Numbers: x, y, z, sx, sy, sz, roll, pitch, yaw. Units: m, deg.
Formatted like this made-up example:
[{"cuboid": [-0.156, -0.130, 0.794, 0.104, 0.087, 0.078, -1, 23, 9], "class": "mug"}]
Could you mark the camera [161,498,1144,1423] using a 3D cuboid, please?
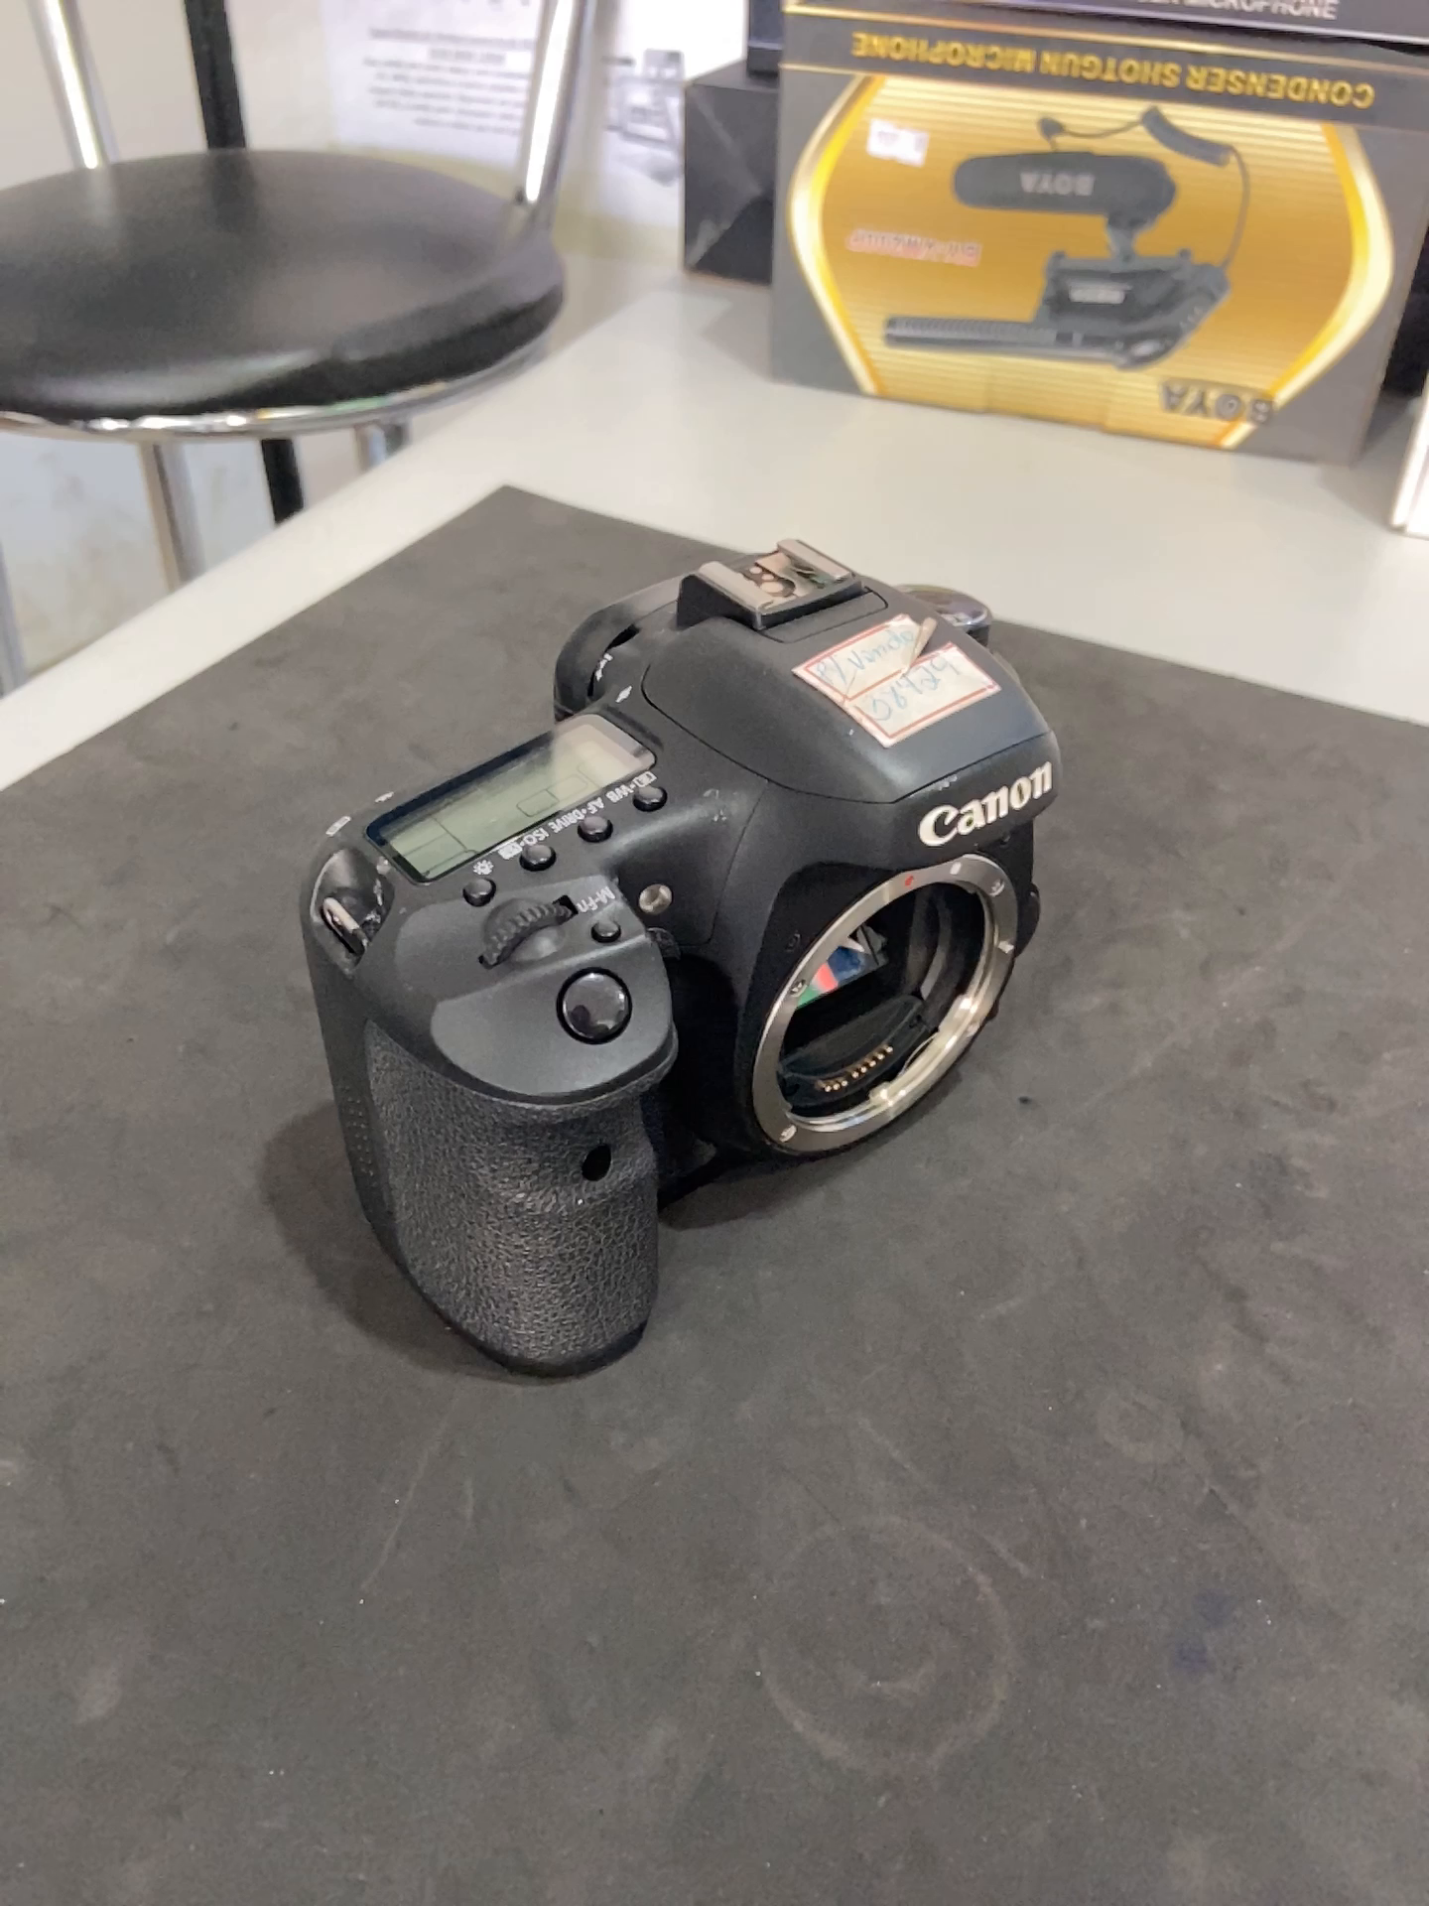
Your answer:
[{"cuboid": [-0.007, -0.008, 0.289, 0.152, 0.101, 0.083, -27, 47, -30], "class": "camera"}]
